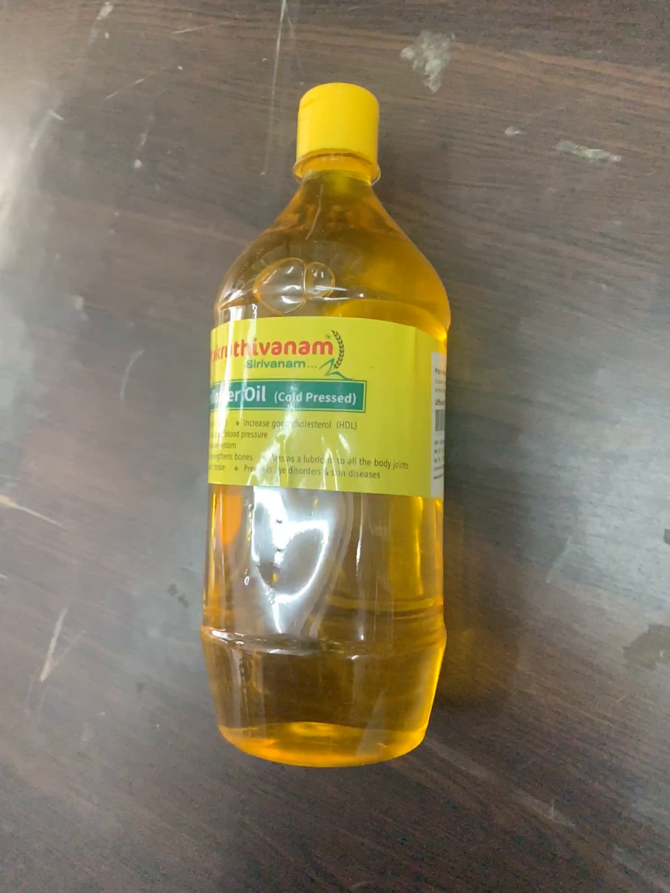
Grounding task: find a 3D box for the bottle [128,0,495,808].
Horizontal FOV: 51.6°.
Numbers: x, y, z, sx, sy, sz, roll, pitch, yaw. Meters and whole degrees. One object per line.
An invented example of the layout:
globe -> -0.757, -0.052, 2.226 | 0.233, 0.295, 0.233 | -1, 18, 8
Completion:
bottle -> -0.005, -0.021, 0.240 | 0.090, 0.080, 0.230 | 0, 87, 36
